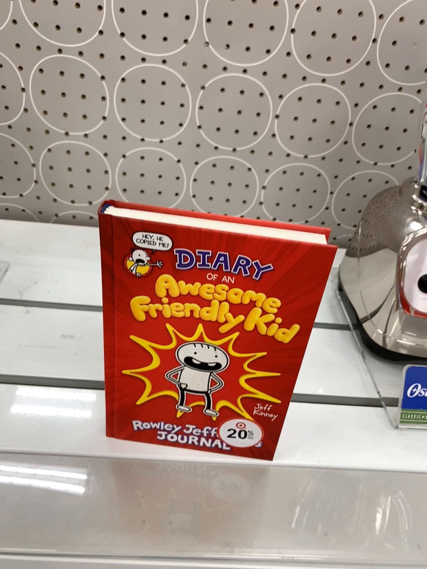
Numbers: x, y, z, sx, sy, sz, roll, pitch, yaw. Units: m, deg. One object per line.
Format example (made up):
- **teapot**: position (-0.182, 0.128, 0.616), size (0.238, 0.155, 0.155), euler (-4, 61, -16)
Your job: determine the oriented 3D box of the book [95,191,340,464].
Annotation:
- **book**: position (-0.008, 0.045, 0.321), size (0.140, 0.209, 0.030), euler (7, 33, 0)
